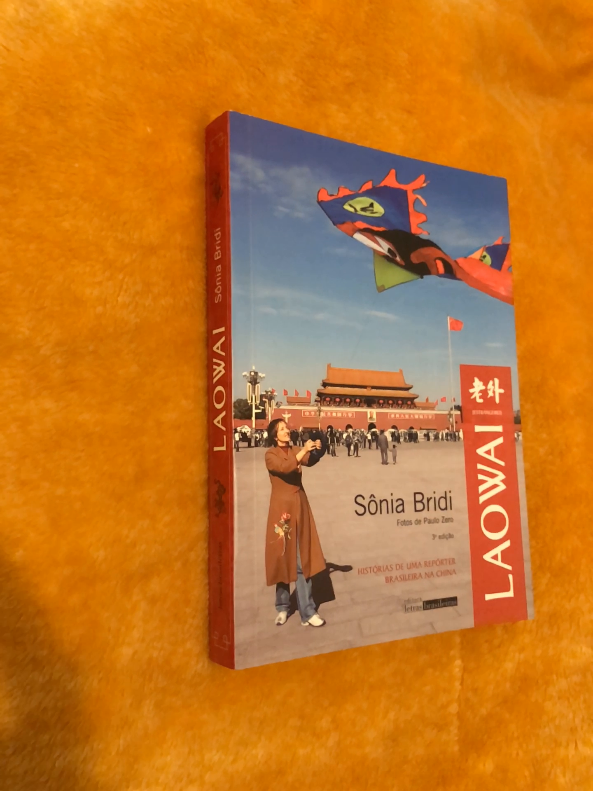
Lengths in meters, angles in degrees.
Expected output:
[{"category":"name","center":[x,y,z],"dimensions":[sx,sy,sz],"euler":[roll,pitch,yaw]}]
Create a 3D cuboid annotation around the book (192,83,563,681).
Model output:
[{"category":"book","center":[0.039,-0.008,0.314],"dimensions":[0.170,0.040,0.240],"euler":[2,82,-24]}]
